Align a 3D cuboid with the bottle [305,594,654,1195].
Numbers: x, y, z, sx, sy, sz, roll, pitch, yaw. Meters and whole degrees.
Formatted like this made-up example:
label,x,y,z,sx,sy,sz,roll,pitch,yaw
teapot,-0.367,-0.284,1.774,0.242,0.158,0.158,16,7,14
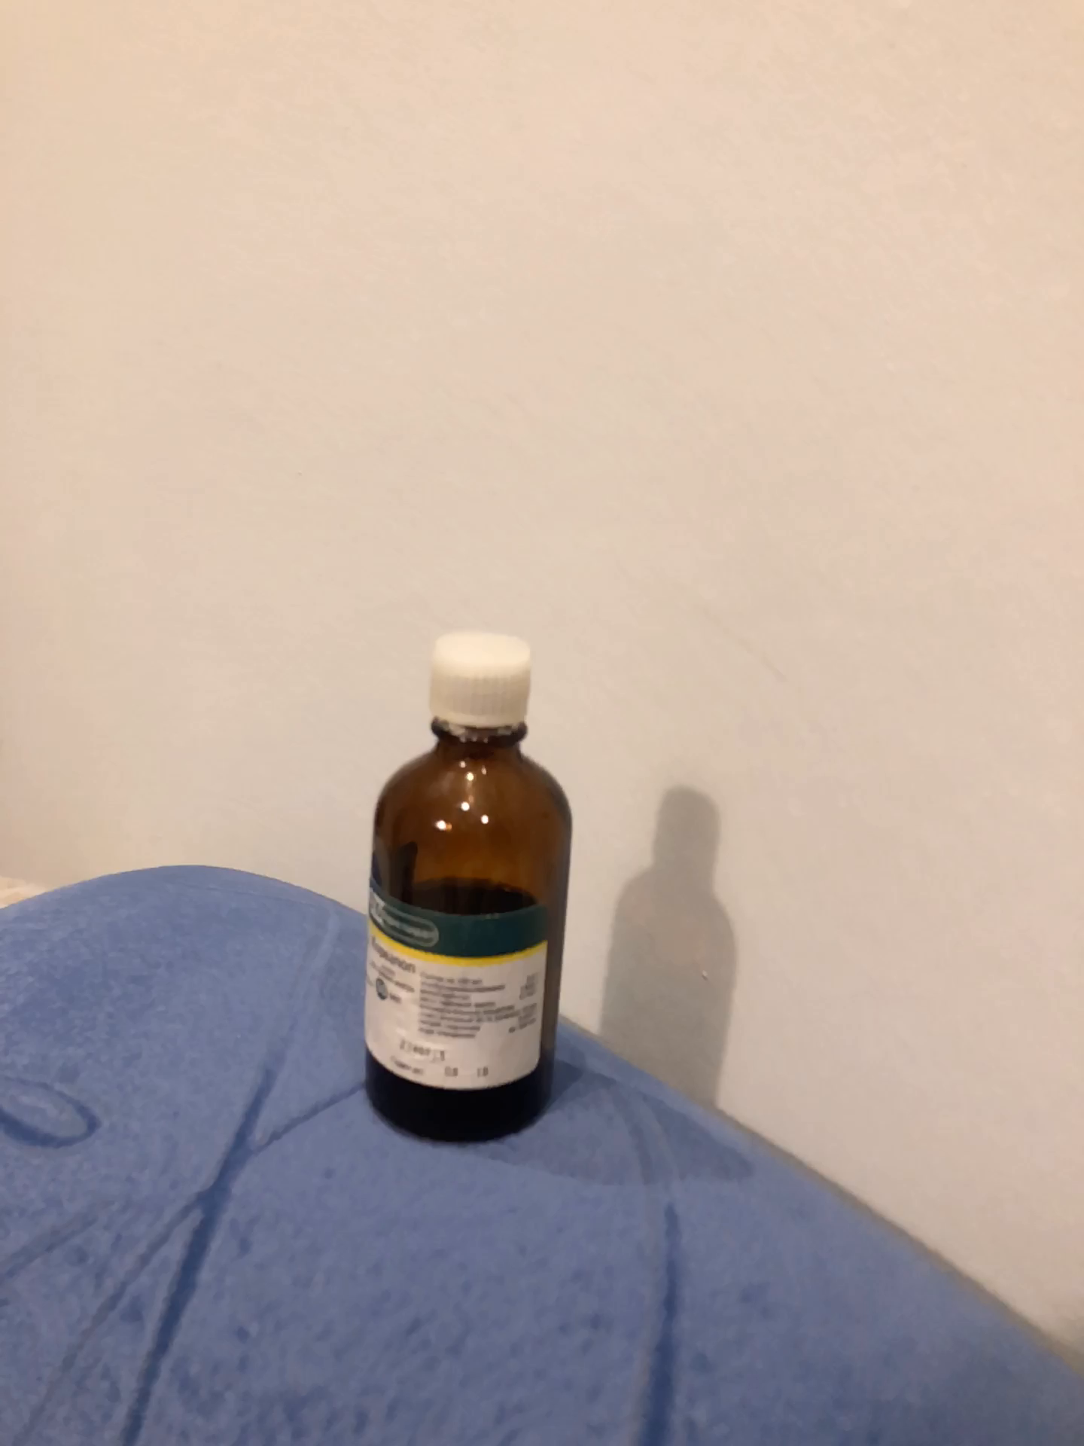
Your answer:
label,x,y,z,sx,sy,sz,roll,pitch,yaw
bottle,-0.014,0.030,0.234,0.045,0.099,0.040,21,23,39
